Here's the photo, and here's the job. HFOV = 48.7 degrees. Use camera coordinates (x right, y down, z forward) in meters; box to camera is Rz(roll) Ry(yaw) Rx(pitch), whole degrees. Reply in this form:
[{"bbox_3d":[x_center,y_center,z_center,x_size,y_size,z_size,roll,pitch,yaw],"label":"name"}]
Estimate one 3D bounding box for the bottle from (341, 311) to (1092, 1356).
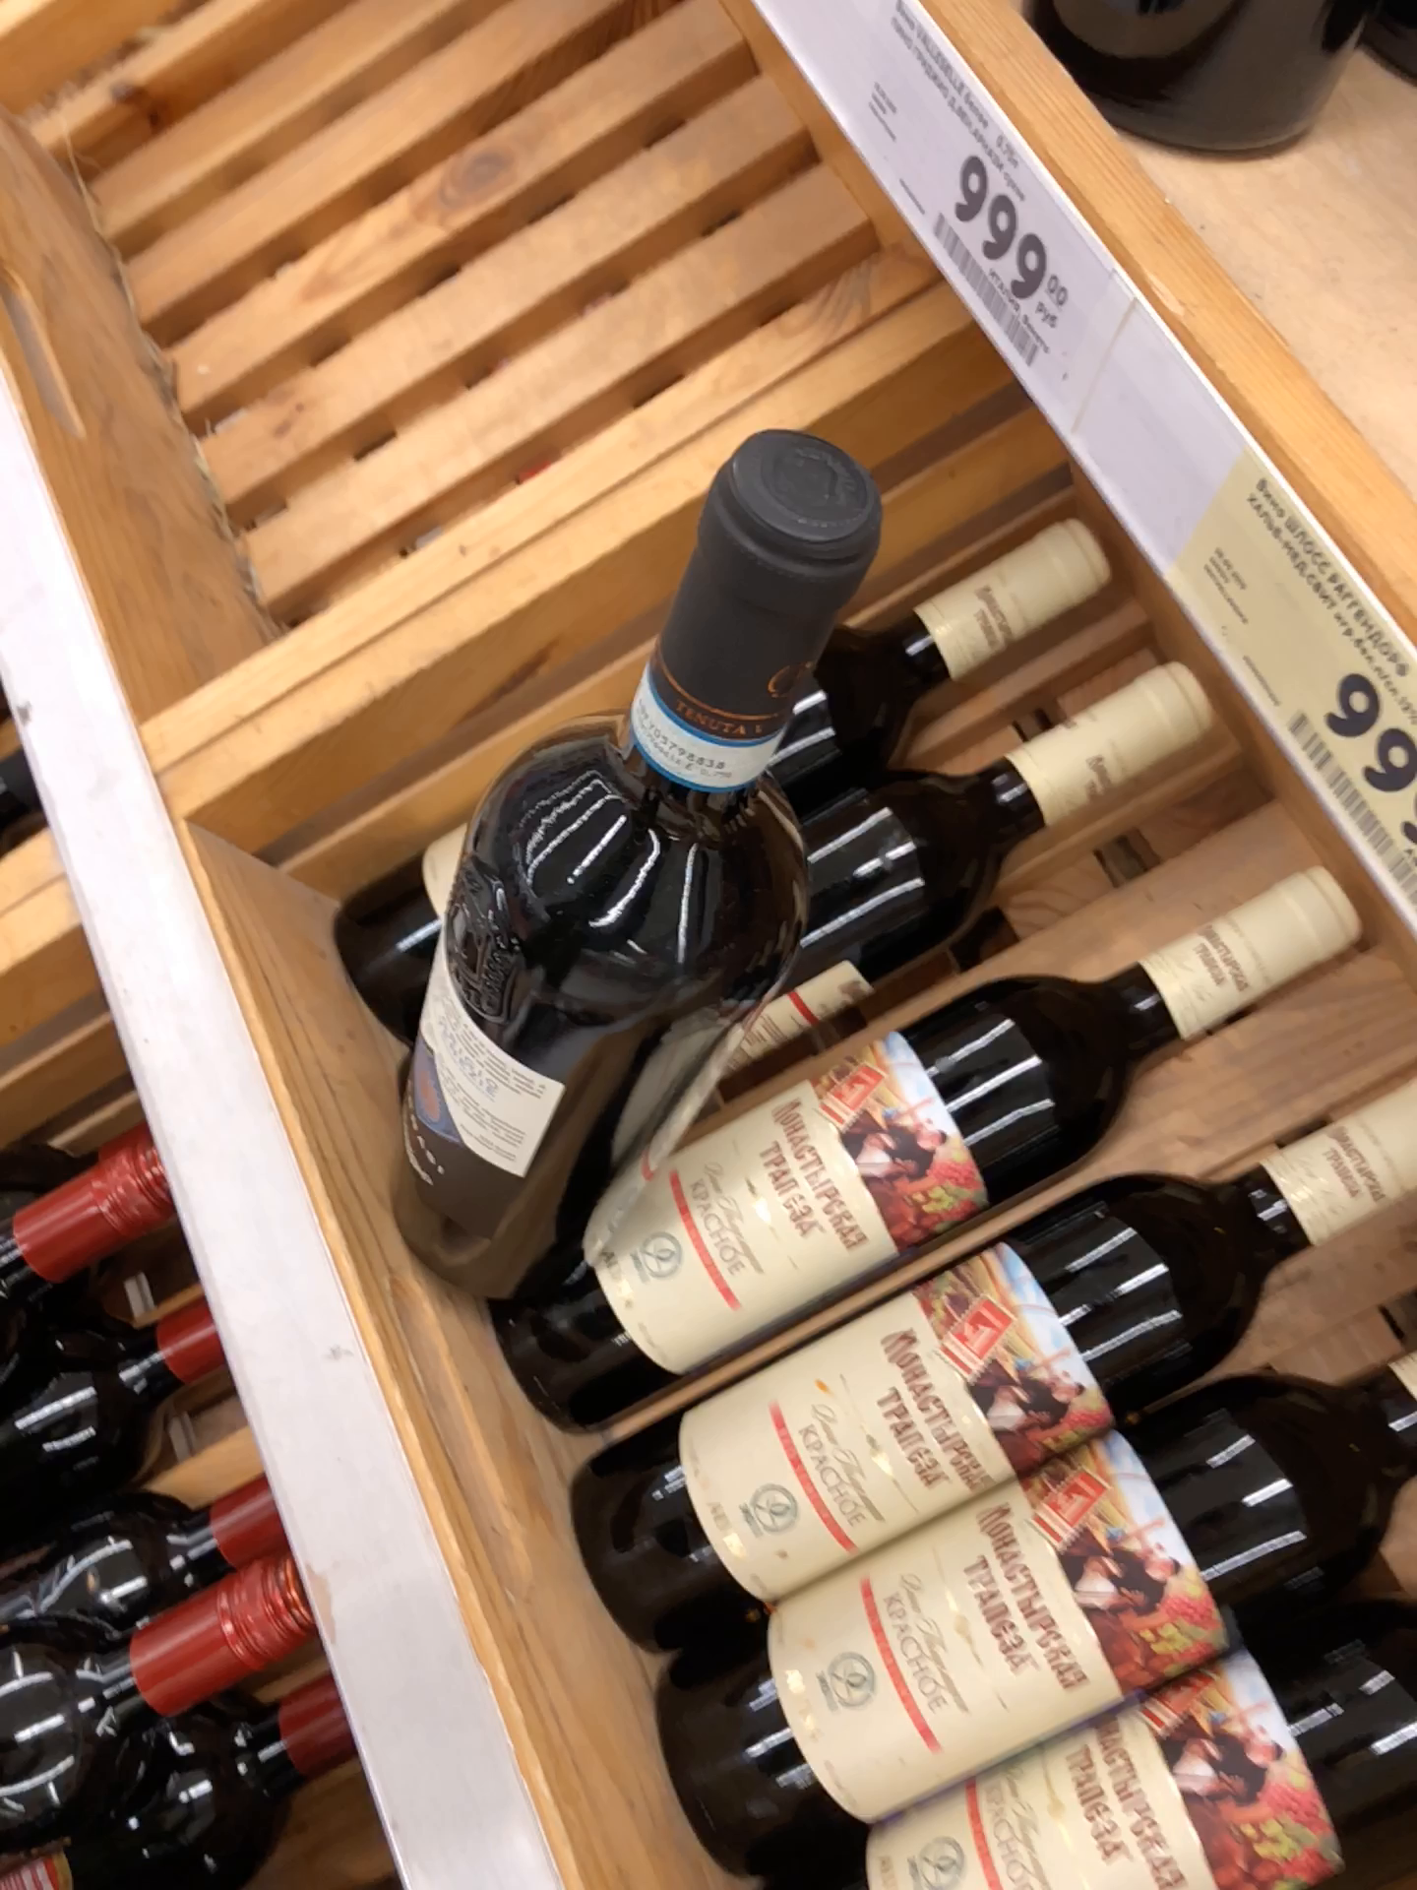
[{"bbox_3d":[-0.029,0.003,0.404,0.080,0.319,0.090,-14,64,-25],"label":"bottle"}]
